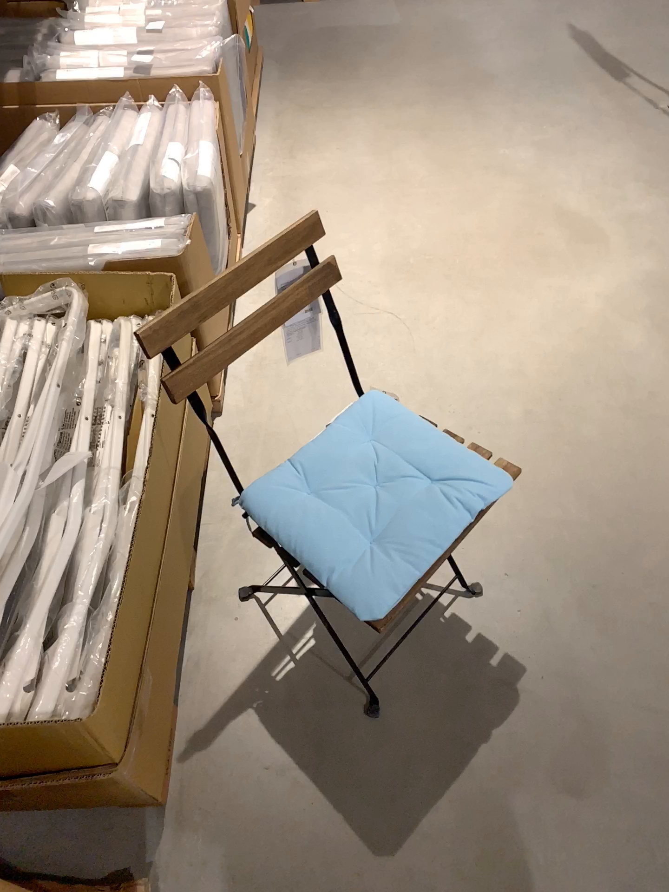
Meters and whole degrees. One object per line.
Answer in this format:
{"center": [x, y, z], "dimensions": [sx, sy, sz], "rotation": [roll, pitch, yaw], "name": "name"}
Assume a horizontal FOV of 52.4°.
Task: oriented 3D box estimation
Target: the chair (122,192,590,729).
{"center": [0.038, 0.064, 1.174], "dimensions": [0.461, 0.738, 0.400], "rotation": [33, 60, 26], "name": "chair"}
